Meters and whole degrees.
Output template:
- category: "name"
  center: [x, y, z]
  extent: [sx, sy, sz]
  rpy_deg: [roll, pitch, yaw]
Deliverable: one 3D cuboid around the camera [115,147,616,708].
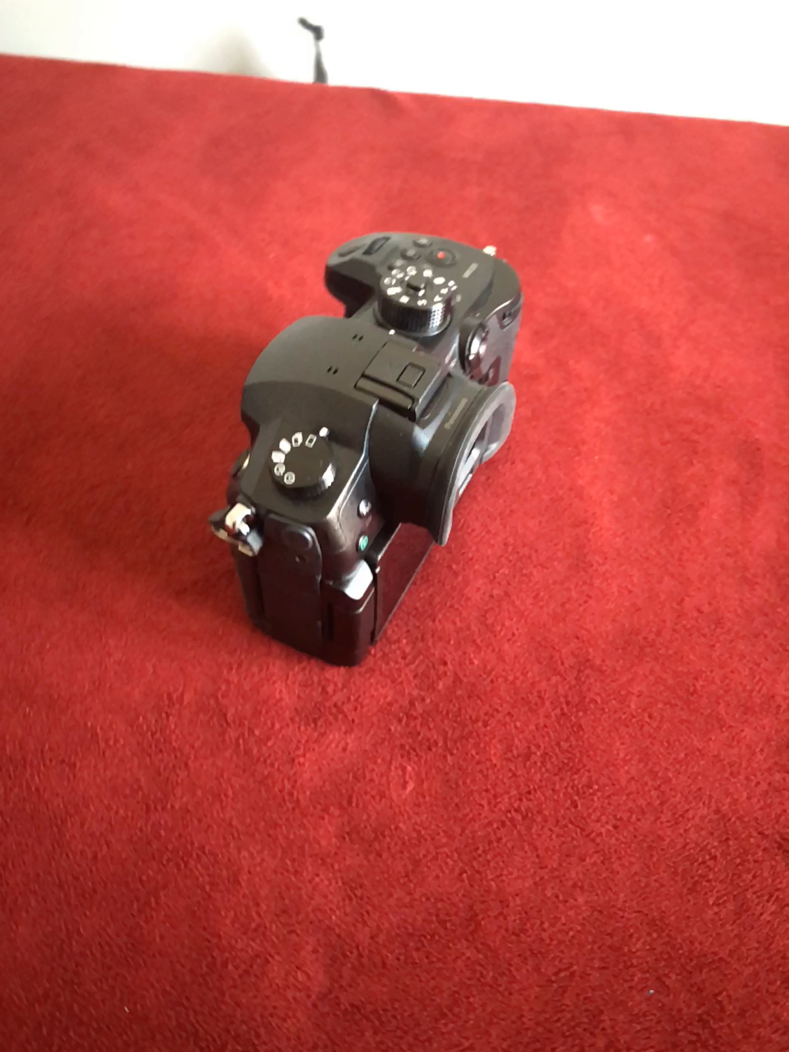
- category: "camera"
  center: [-0.002, -0.037, 0.293]
  extent: [0.085, 0.087, 0.148]
  rpy_deg: [24, 57, 14]
